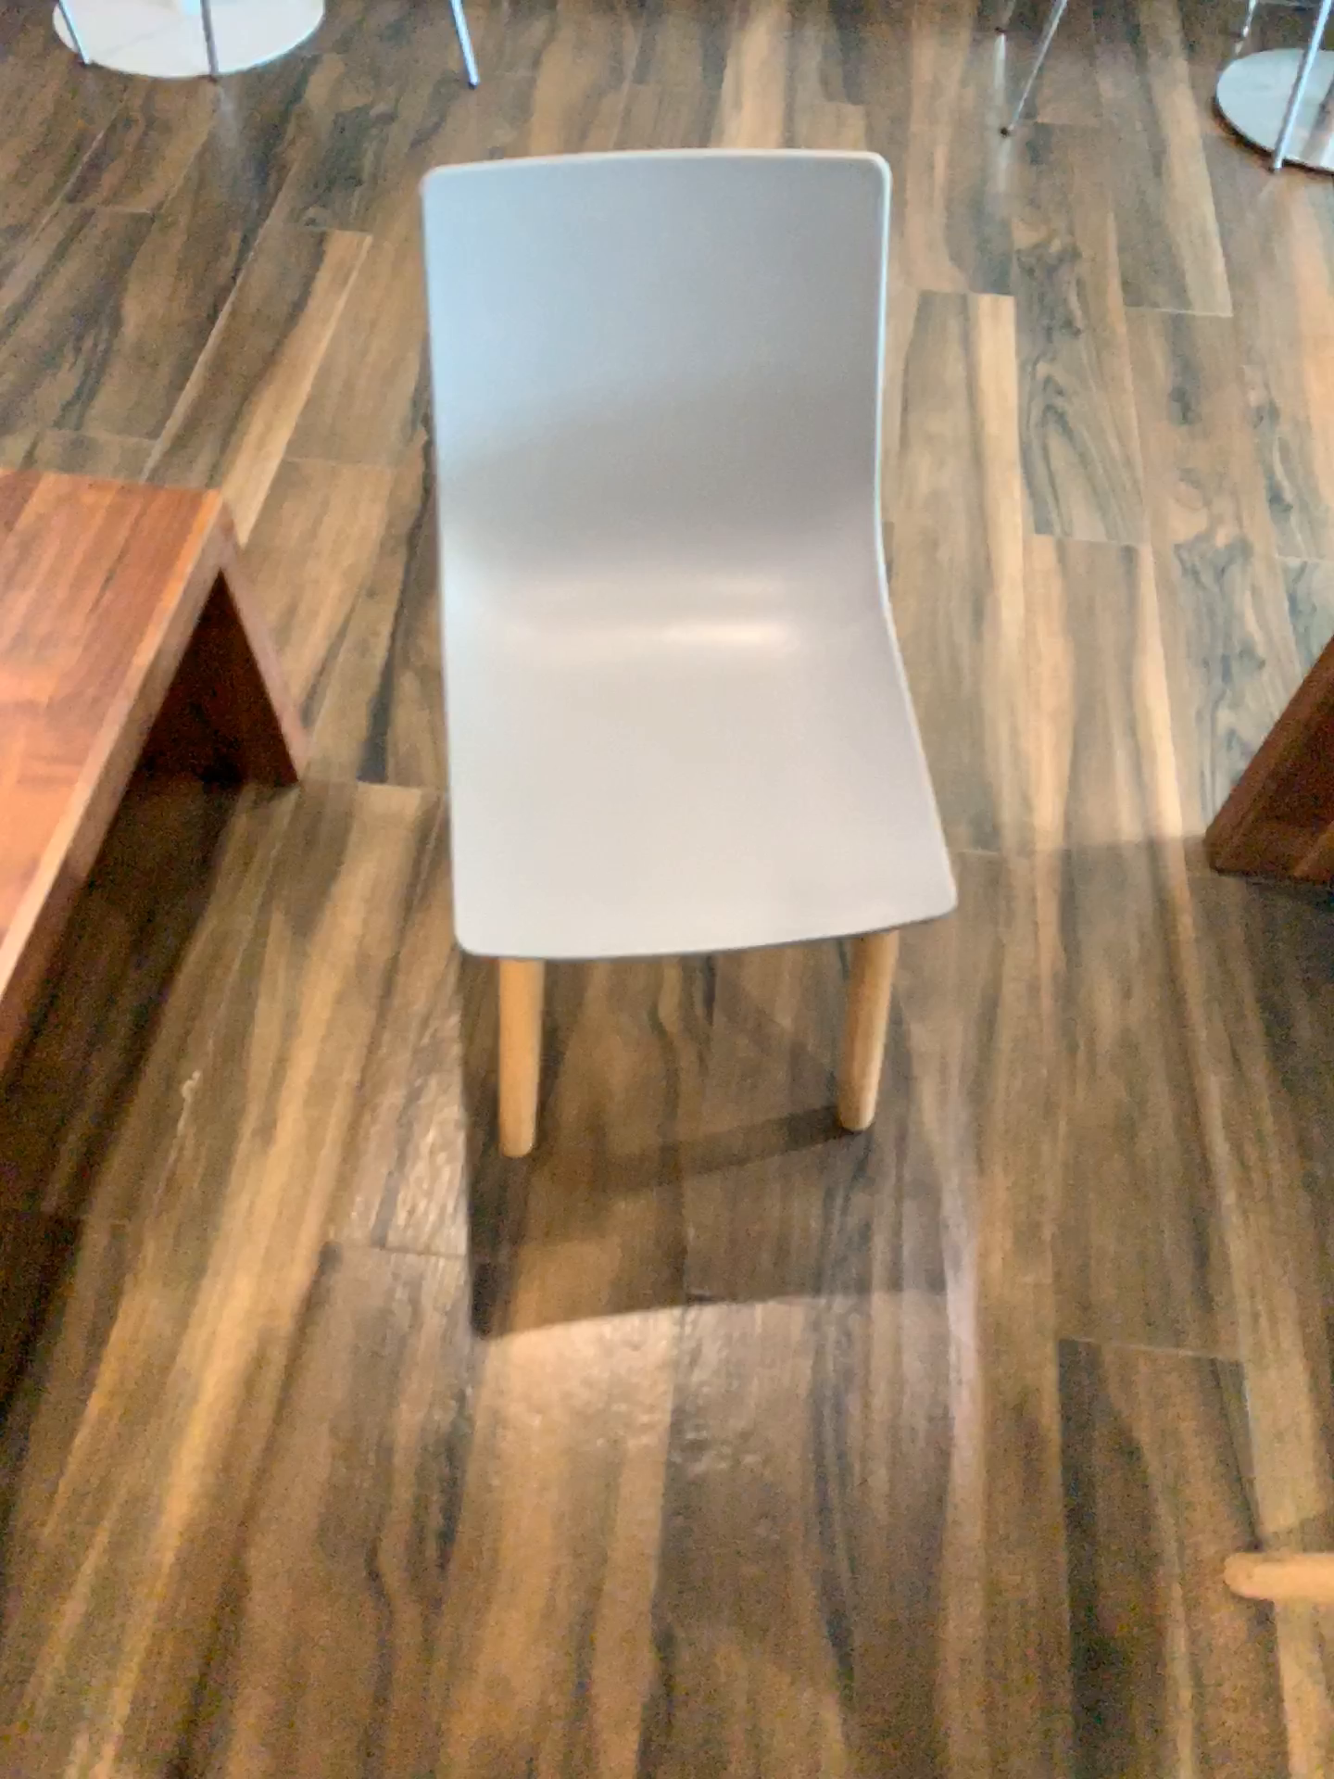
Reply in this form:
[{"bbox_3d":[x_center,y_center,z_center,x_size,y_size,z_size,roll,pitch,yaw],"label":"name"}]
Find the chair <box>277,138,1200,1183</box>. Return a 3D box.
[{"bbox_3d":[0.017,-0.150,1.170,0.500,0.696,0.563,-2,57,-3],"label":"chair"}]
